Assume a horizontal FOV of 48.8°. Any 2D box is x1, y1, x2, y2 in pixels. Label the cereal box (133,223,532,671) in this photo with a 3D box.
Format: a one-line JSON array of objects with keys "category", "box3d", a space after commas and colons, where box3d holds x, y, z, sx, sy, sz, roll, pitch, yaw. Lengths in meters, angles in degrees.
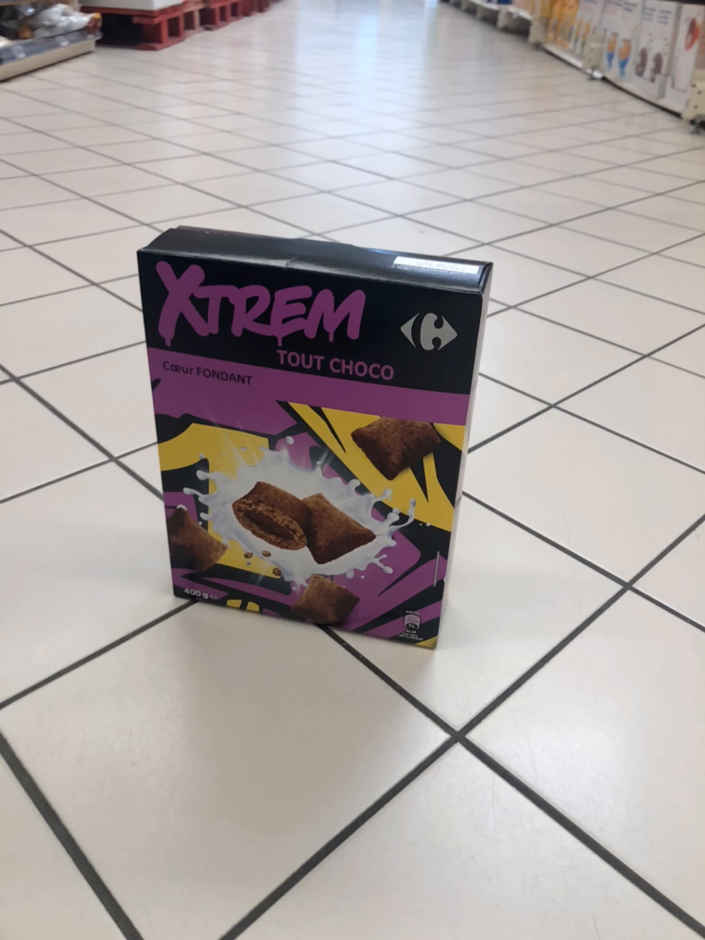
[{"category": "cereal box", "box3d": [-0.014, -0.010, 0.475, 0.200, 0.239, 0.070, 11, 33, 11]}]
